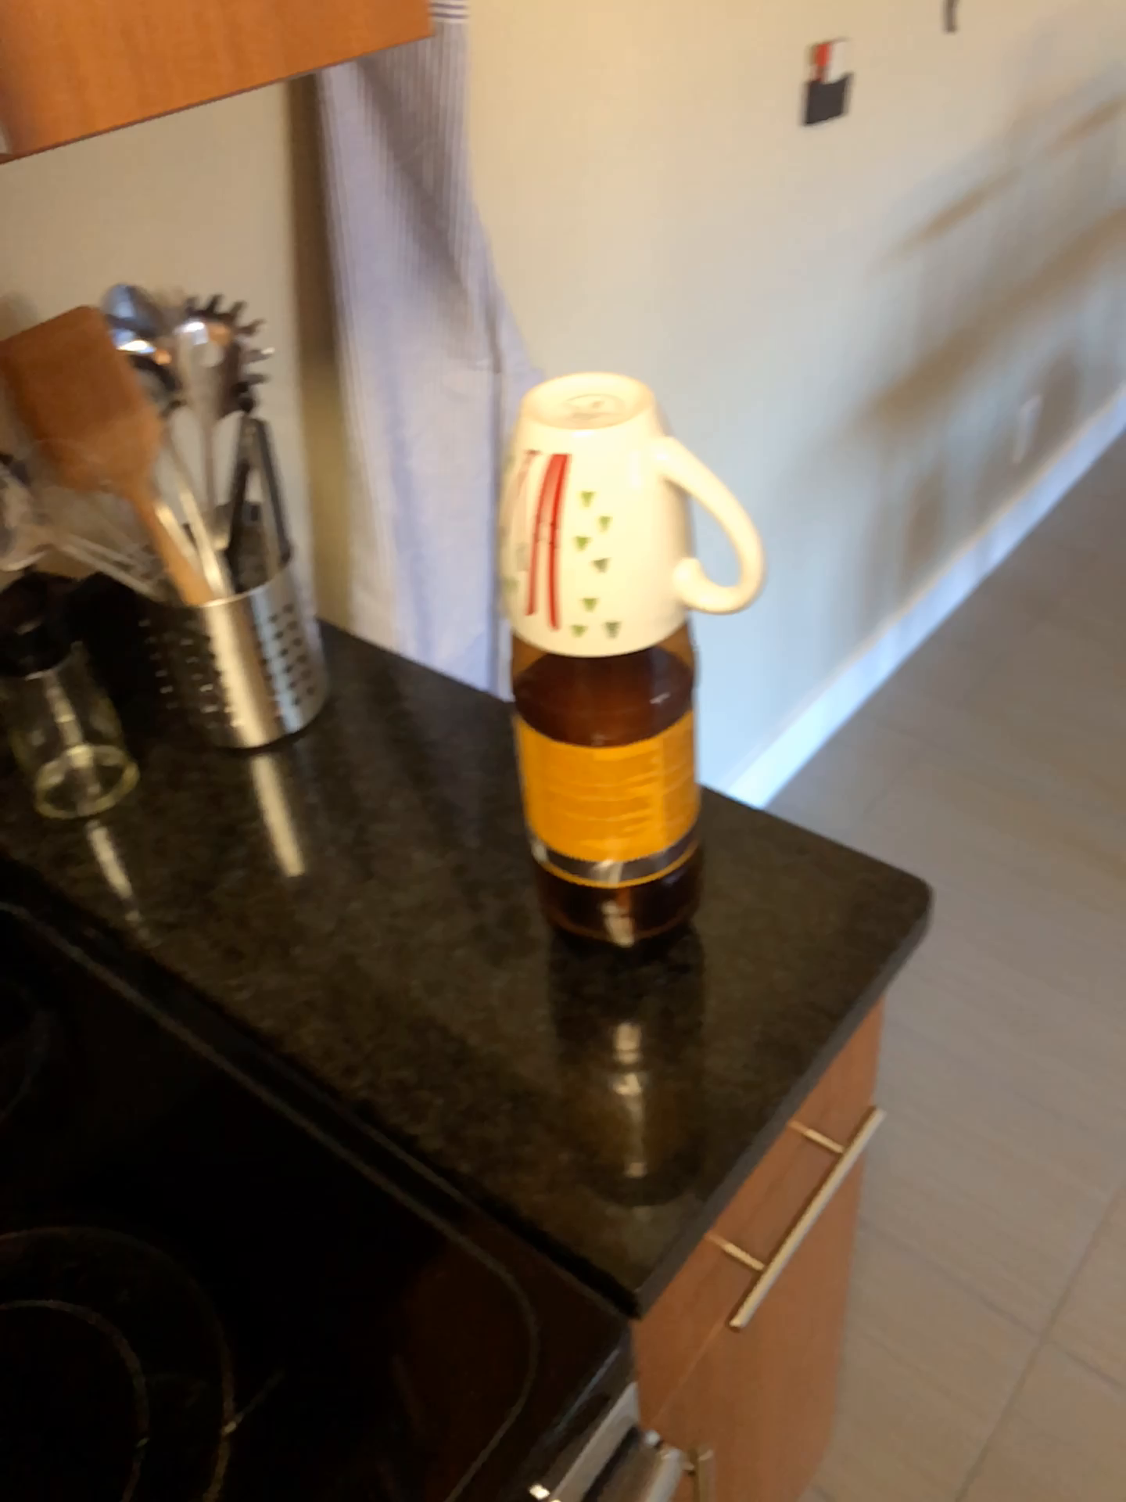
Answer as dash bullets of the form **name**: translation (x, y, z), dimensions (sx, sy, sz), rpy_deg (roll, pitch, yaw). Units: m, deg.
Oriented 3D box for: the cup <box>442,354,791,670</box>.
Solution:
- **cup**: translation (0.032, -0.118, 0.607), dimensions (0.140, 0.110, 0.100), rpy_deg (6, 39, 15)
